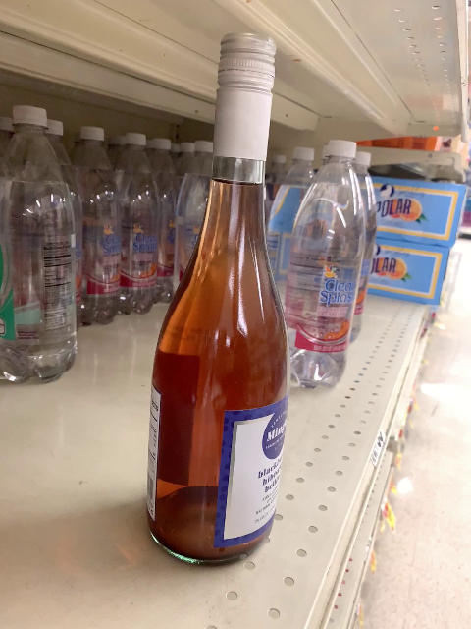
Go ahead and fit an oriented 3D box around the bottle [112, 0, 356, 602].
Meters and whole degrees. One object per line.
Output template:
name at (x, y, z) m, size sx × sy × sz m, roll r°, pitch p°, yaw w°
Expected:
bottle at (-0.006, 0.000, 0.287) m, size 0.080 × 0.299 × 0.090 m, roll 15°, pitch 18°, yaw 28°
